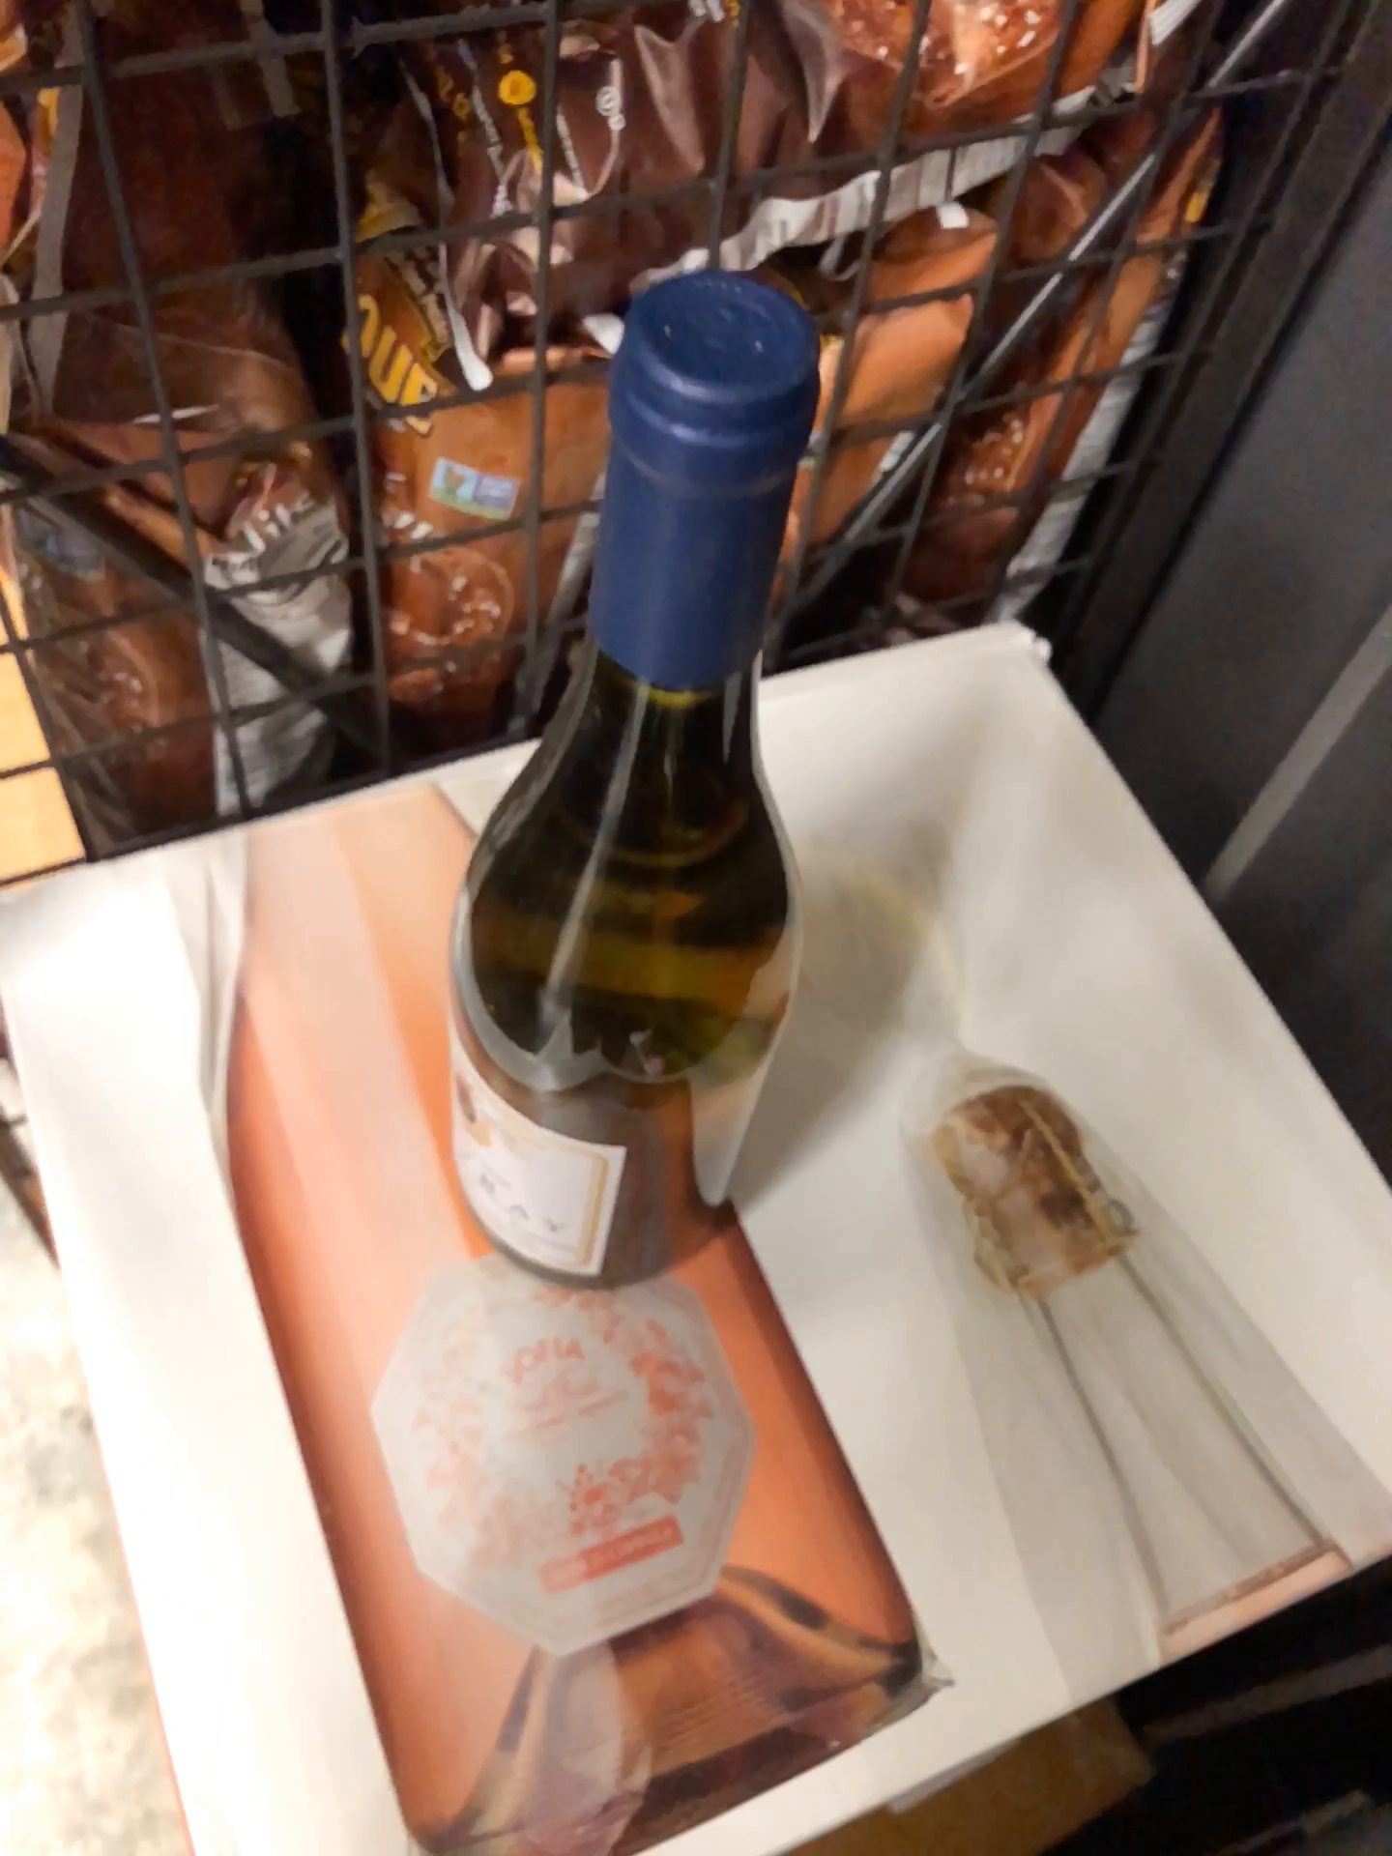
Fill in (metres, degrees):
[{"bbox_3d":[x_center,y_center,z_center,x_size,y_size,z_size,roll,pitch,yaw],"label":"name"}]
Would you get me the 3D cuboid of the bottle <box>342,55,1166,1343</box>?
[{"bbox_3d":[-0.011,-0.013,0.322,0.083,0.281,0.085,4,56,-6],"label":"bottle"}]
